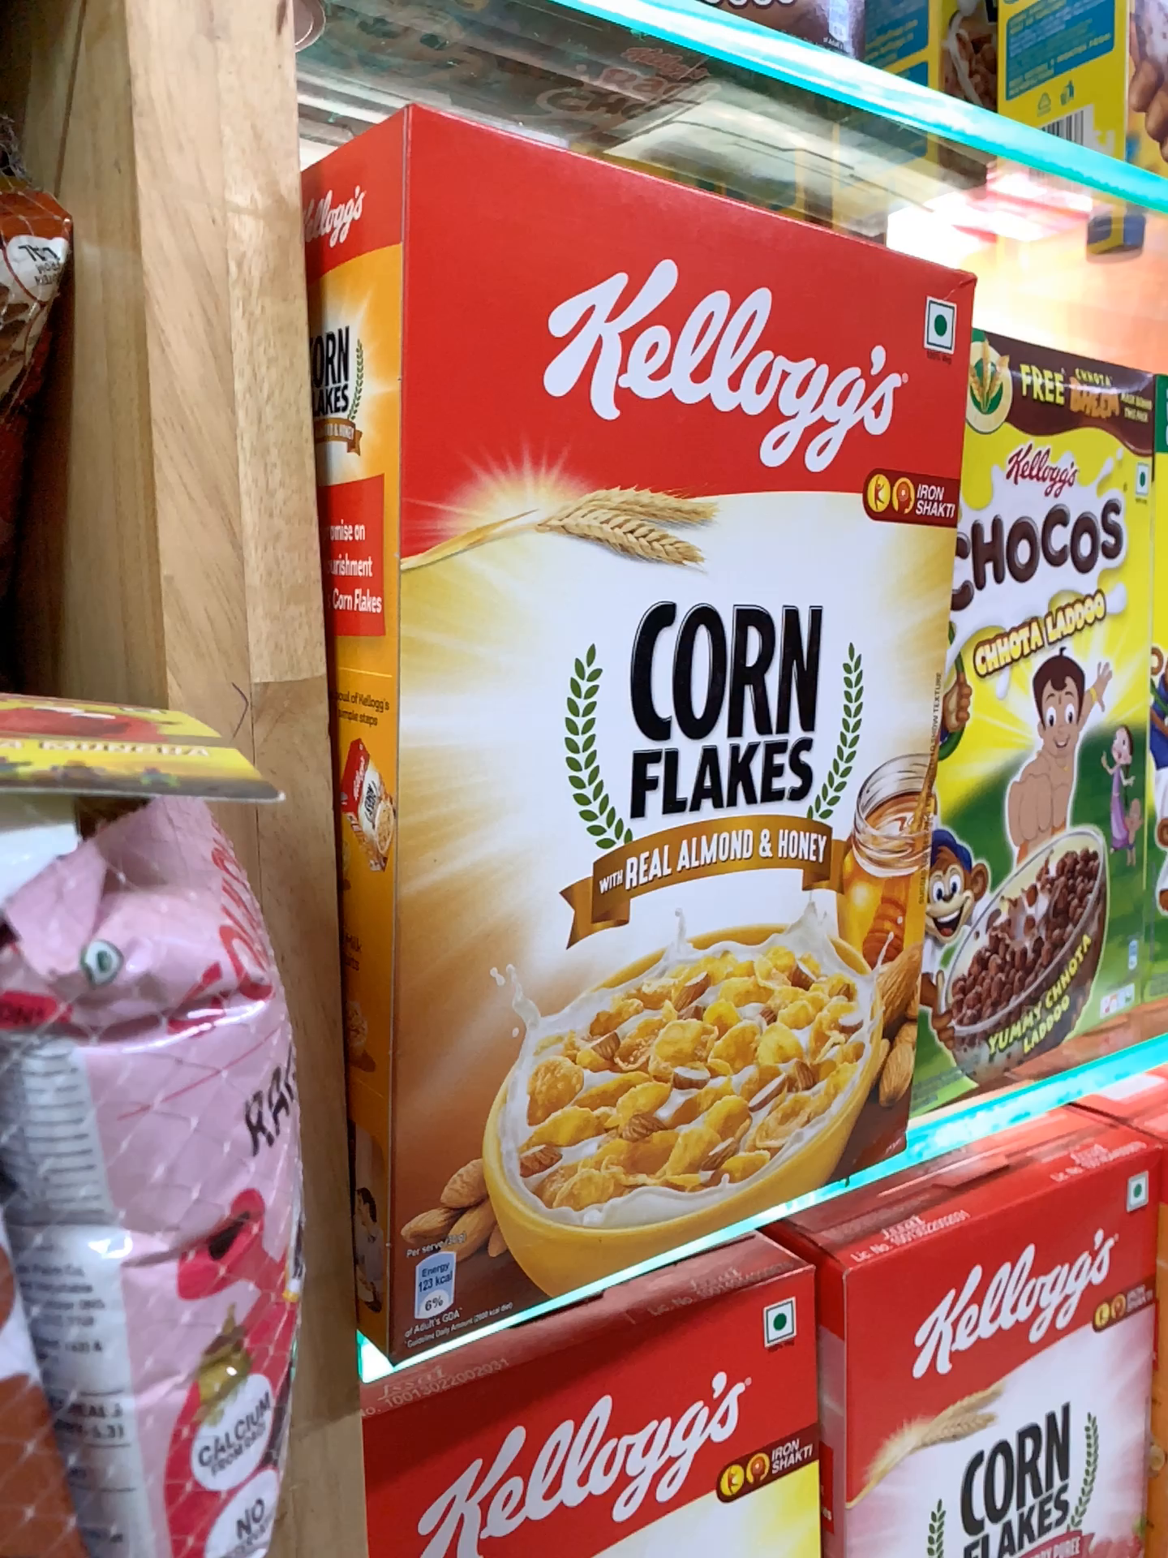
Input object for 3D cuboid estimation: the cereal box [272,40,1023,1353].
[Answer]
[{"bbox_3d":[0.018,-0.017,0.300,0.170,0.239,0.070,-4,11,-38],"label":"cereal box"}]
